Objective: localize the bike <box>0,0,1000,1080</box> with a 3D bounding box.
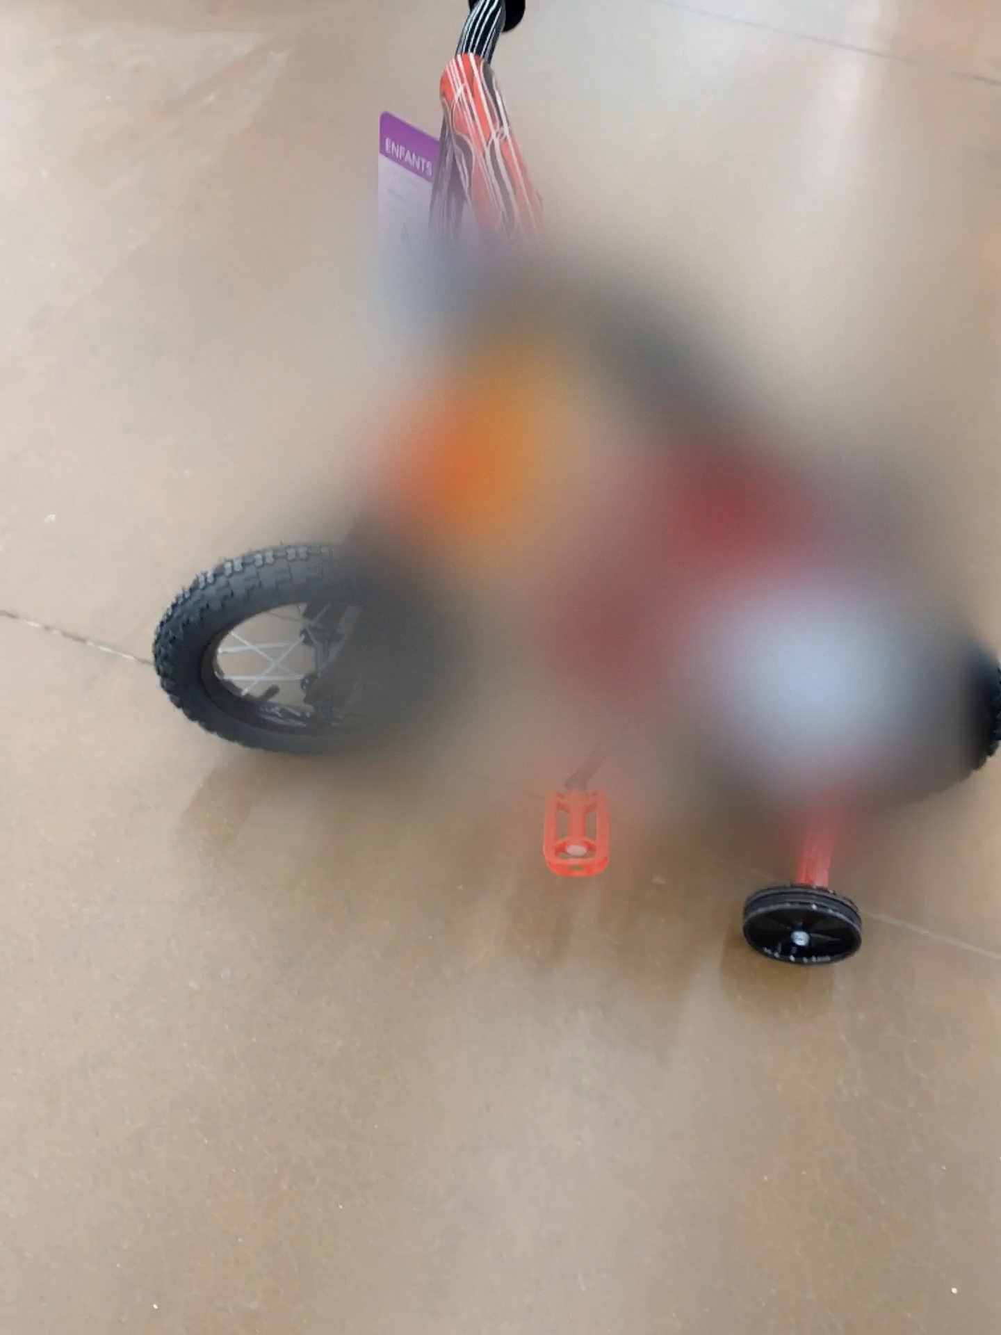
[{"bbox_3d":[0.110,-0.084,0.693,0.703,0.626,0.459,7,49,-8],"label":"bike"}]
